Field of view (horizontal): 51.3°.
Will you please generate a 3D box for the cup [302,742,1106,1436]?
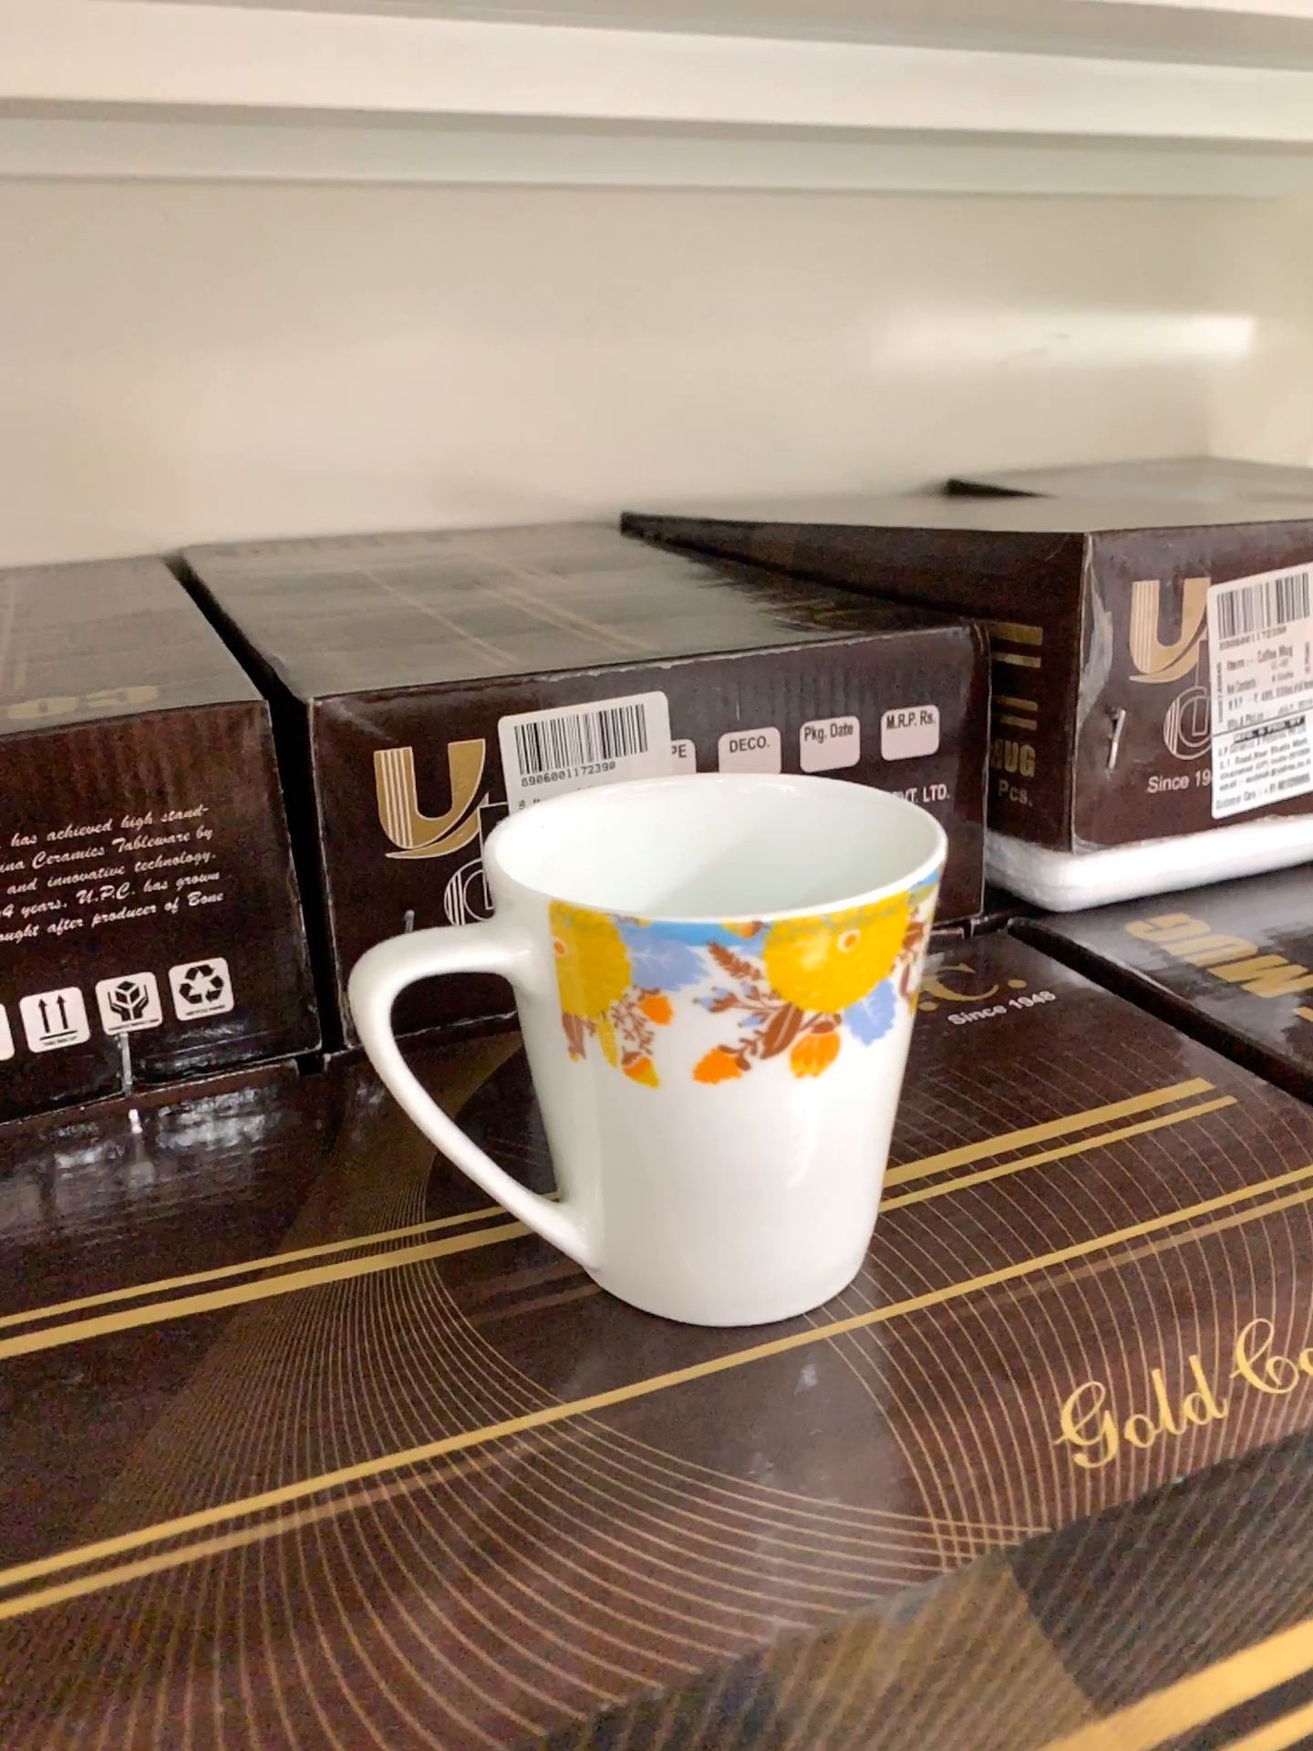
[{"bbox_3d":[0.003,0.022,0.199,0.092,0.058,0.068,-9,21,-20],"label":"cup"}]
